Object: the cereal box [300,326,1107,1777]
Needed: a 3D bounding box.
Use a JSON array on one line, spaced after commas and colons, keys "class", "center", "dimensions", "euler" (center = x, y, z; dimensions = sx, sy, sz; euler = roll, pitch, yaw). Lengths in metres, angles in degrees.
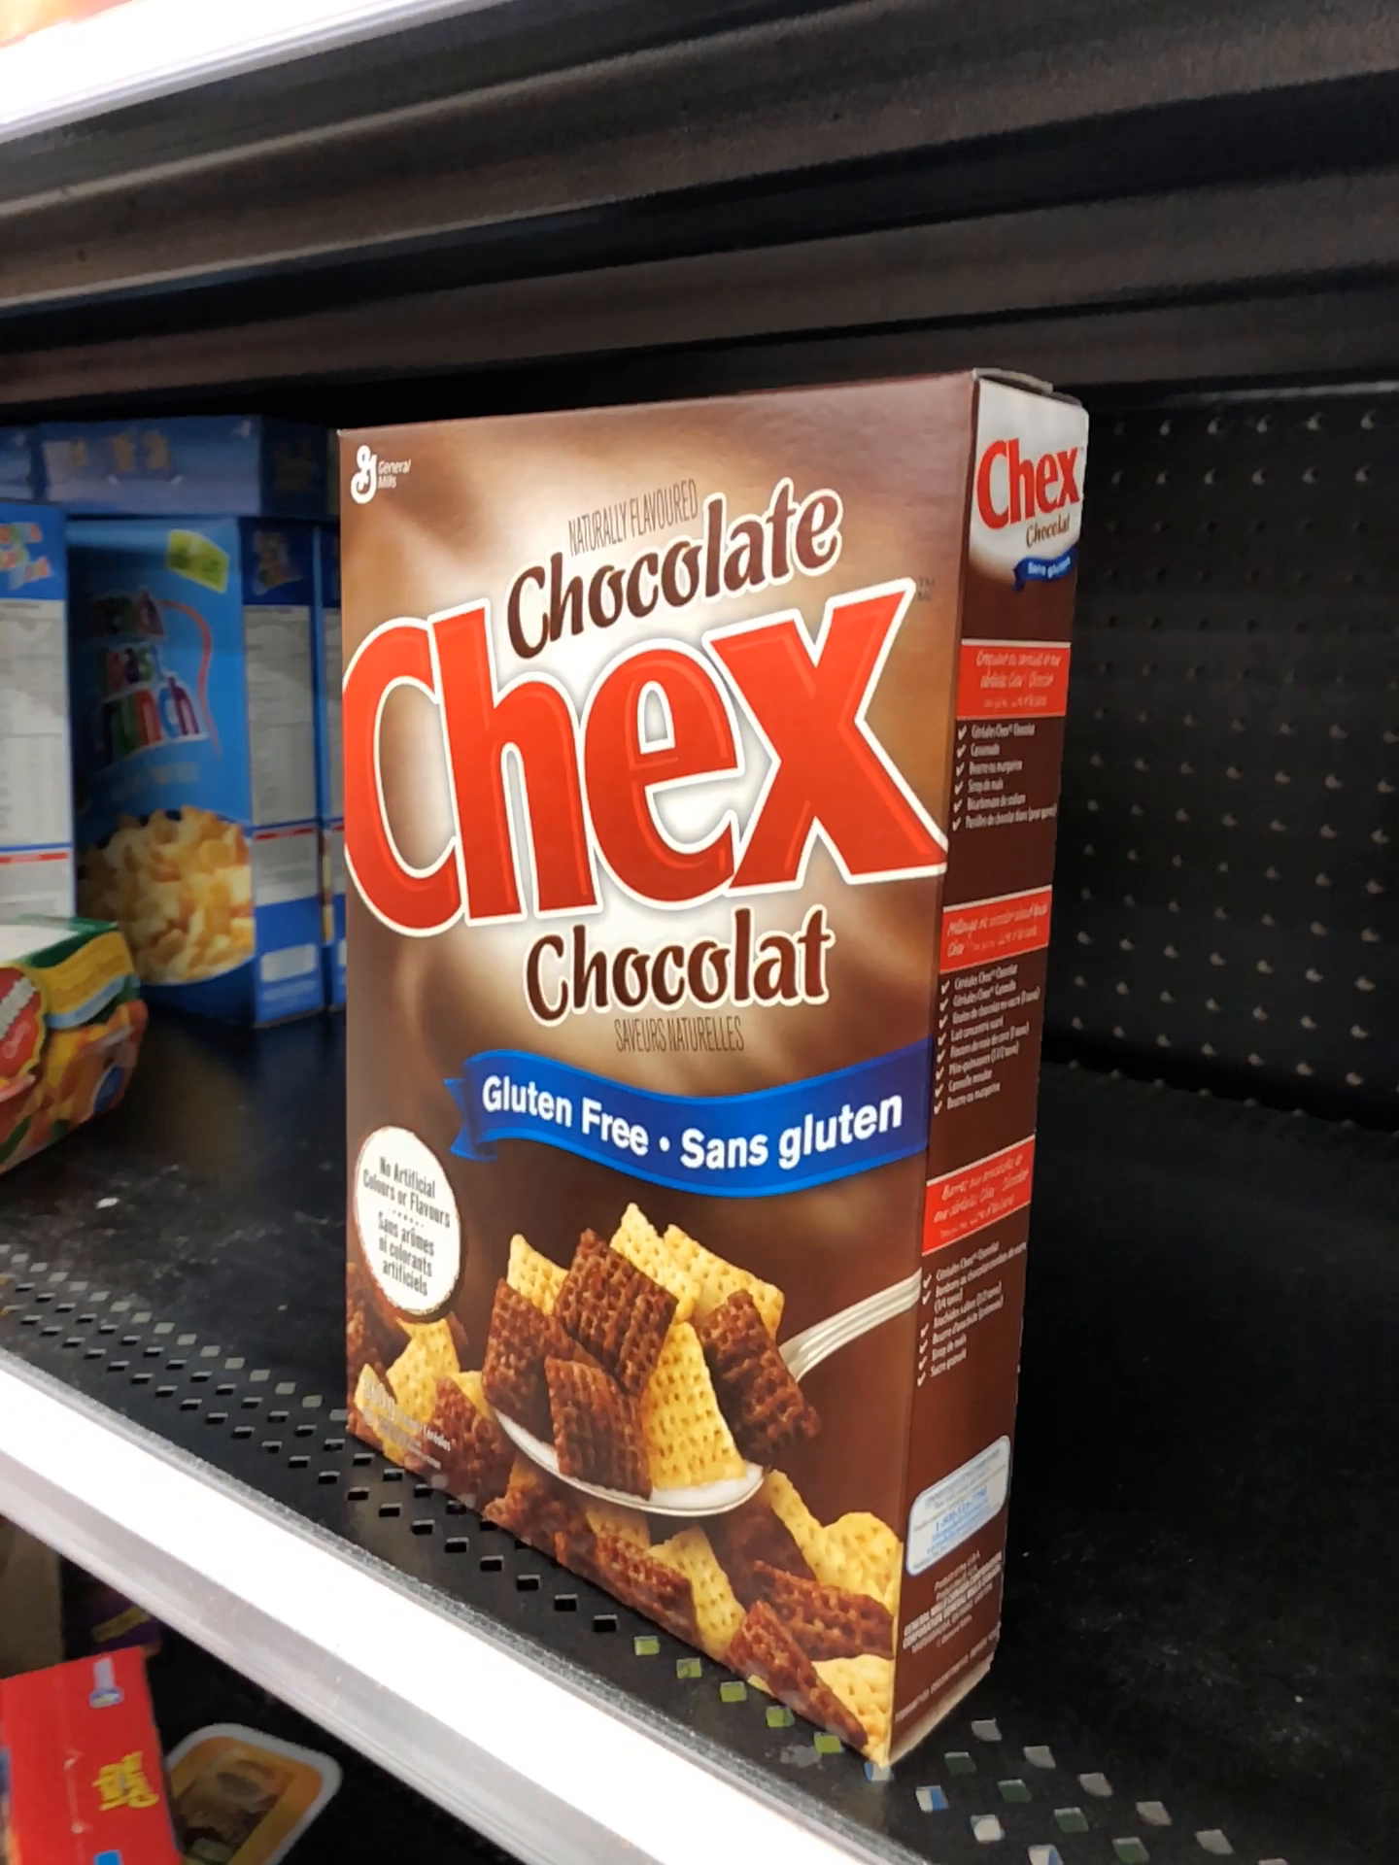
[{"class": "cereal box", "center": [-0.015, 0.015, 0.373], "dimensions": [0.200, 0.279, 0.050], "euler": [12, 14, 42]}]
